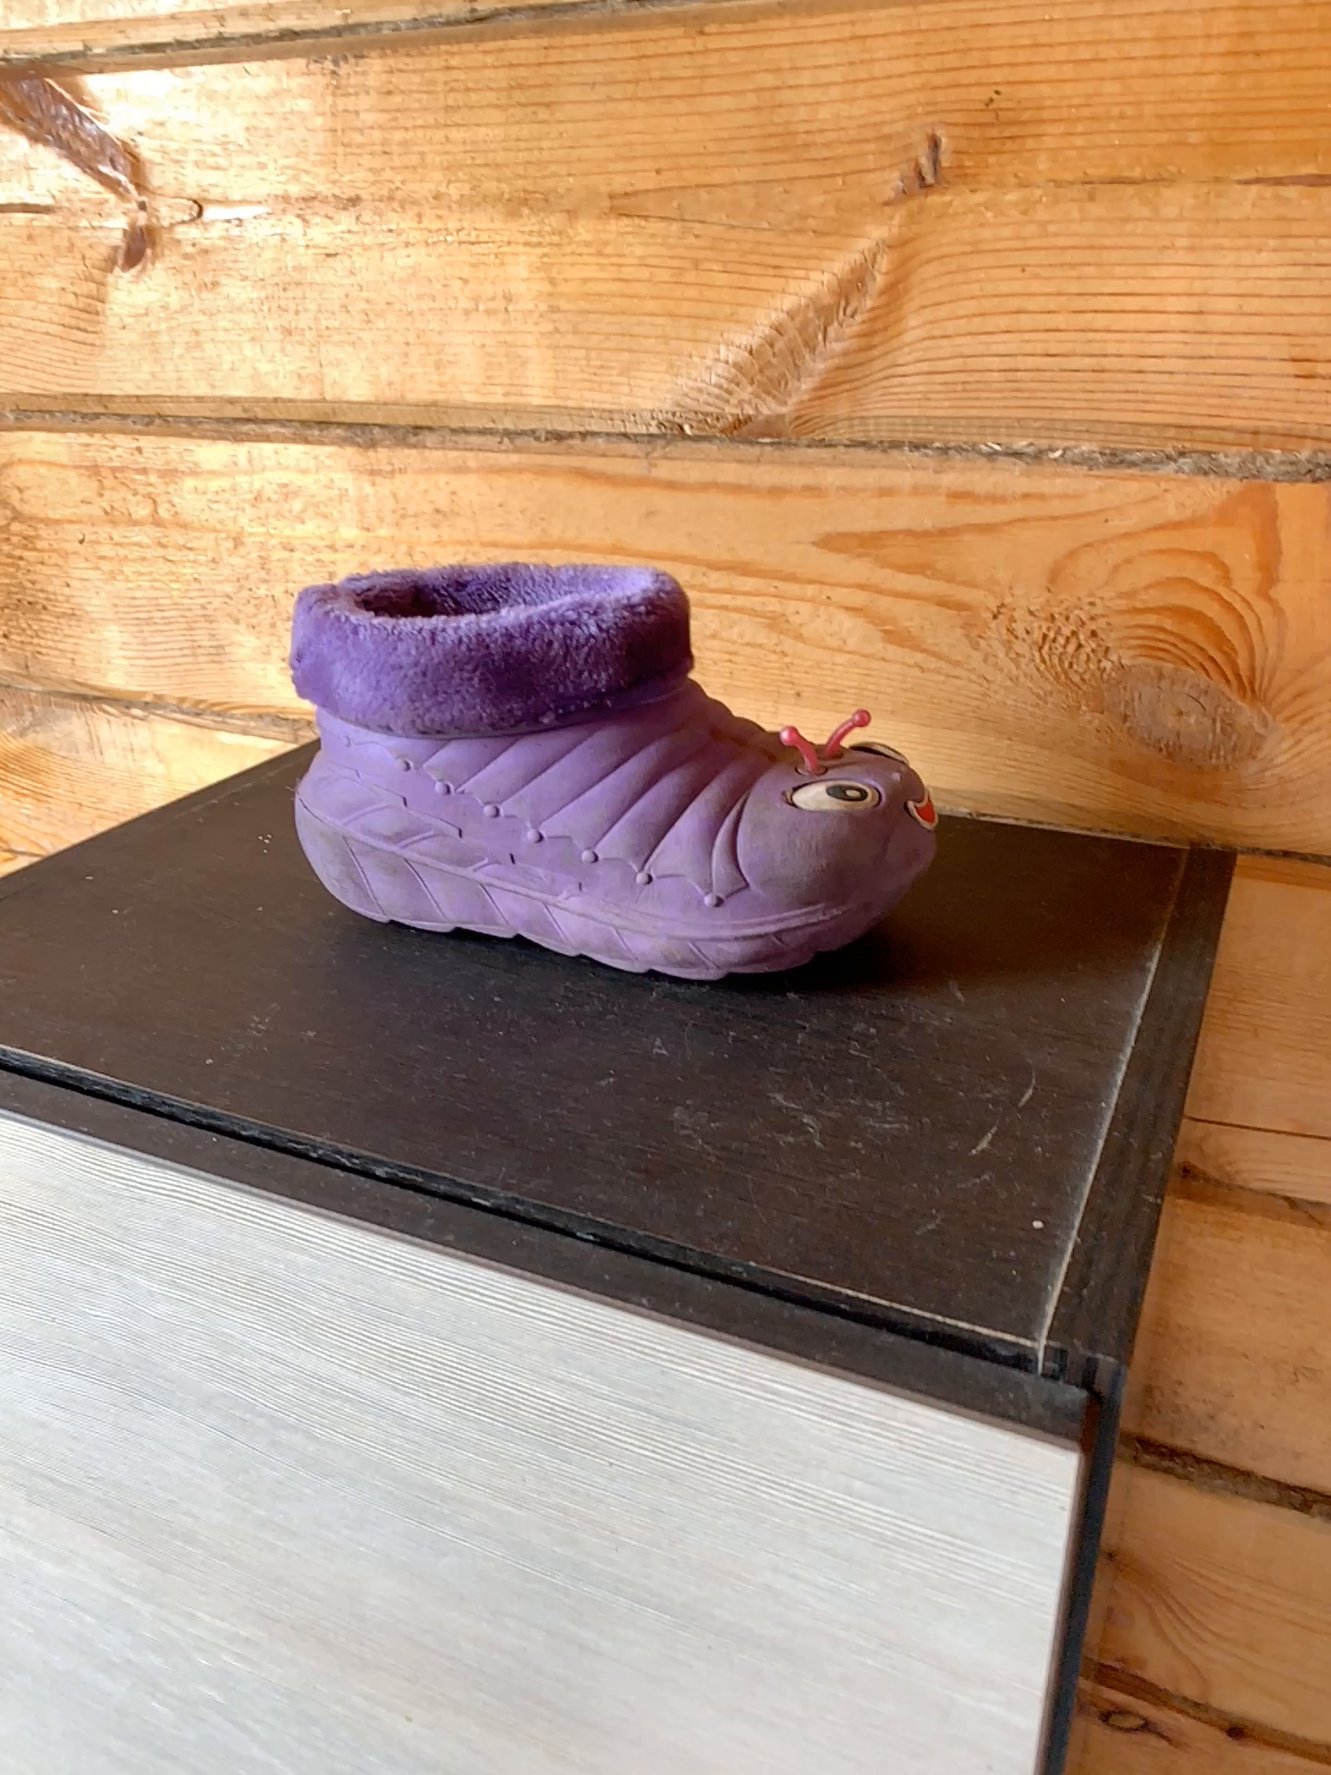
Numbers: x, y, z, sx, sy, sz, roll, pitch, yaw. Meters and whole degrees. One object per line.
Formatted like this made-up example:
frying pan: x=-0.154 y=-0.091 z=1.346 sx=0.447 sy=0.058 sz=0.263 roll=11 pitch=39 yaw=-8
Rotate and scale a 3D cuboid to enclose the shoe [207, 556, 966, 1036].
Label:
shoe: x=-0.022 y=-0.037 z=0.413 sx=0.200 sy=0.099 sz=0.091 roll=9 pitch=24 yaw=20
